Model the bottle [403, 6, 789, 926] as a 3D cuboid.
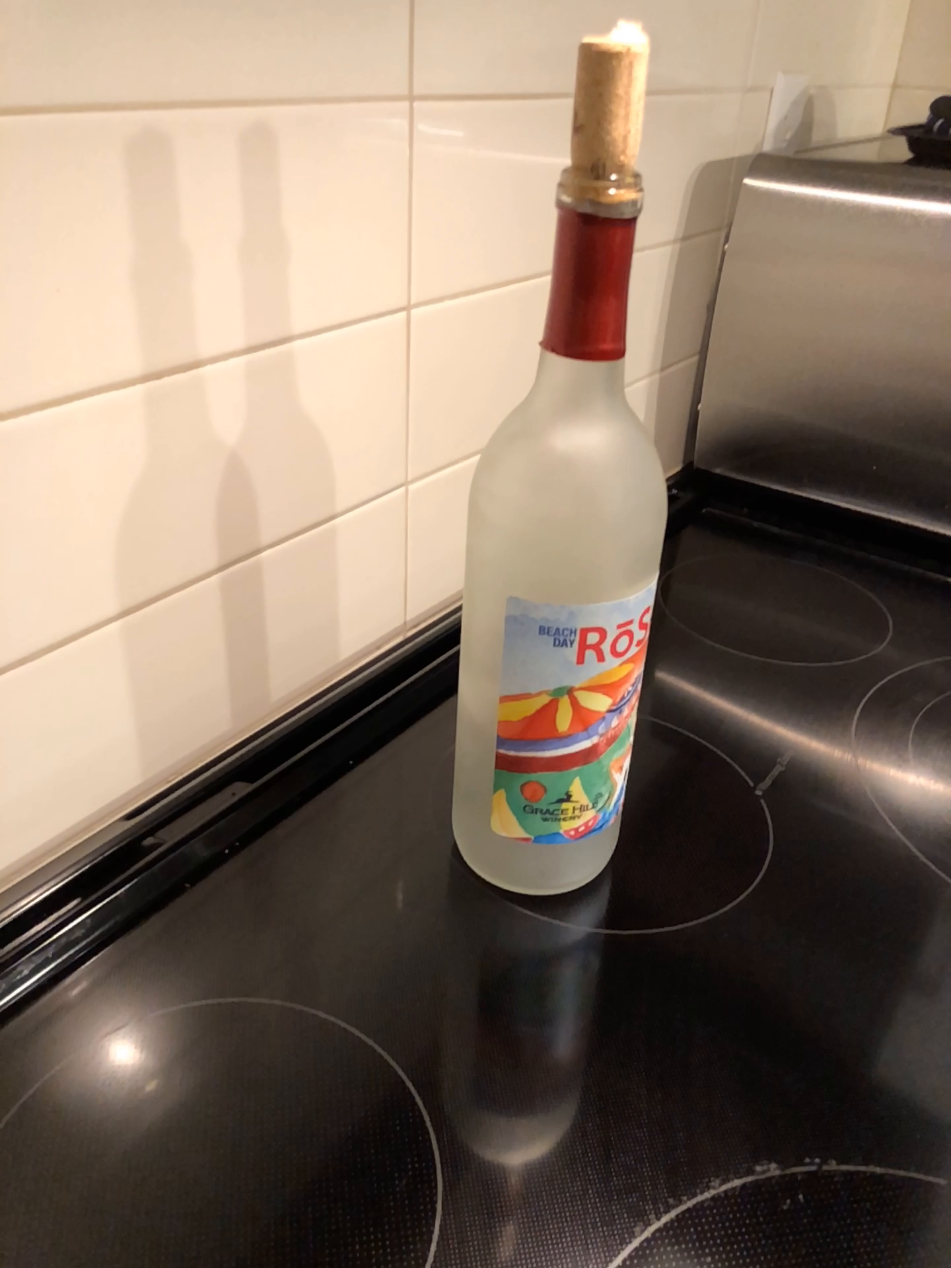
[{"bbox_3d":[0.032,-0.048,0.396,0.080,0.318,0.080,2,30,-1],"label":"bottle"}]
